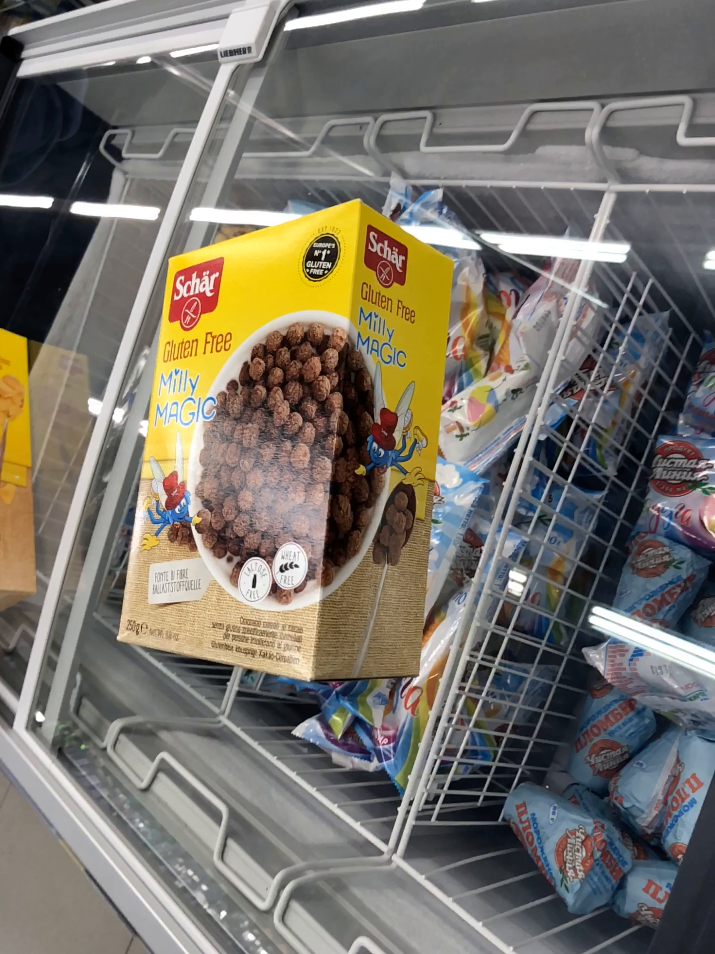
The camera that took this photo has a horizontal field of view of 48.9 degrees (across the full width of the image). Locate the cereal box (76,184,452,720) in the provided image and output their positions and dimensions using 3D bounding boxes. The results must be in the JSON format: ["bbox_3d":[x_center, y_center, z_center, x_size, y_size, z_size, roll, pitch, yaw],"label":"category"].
[{"bbox_3d":[-0.051,-0.007,0.399,0.171,0.070,0.220,-2,79,42],"label":"cereal box"}]
